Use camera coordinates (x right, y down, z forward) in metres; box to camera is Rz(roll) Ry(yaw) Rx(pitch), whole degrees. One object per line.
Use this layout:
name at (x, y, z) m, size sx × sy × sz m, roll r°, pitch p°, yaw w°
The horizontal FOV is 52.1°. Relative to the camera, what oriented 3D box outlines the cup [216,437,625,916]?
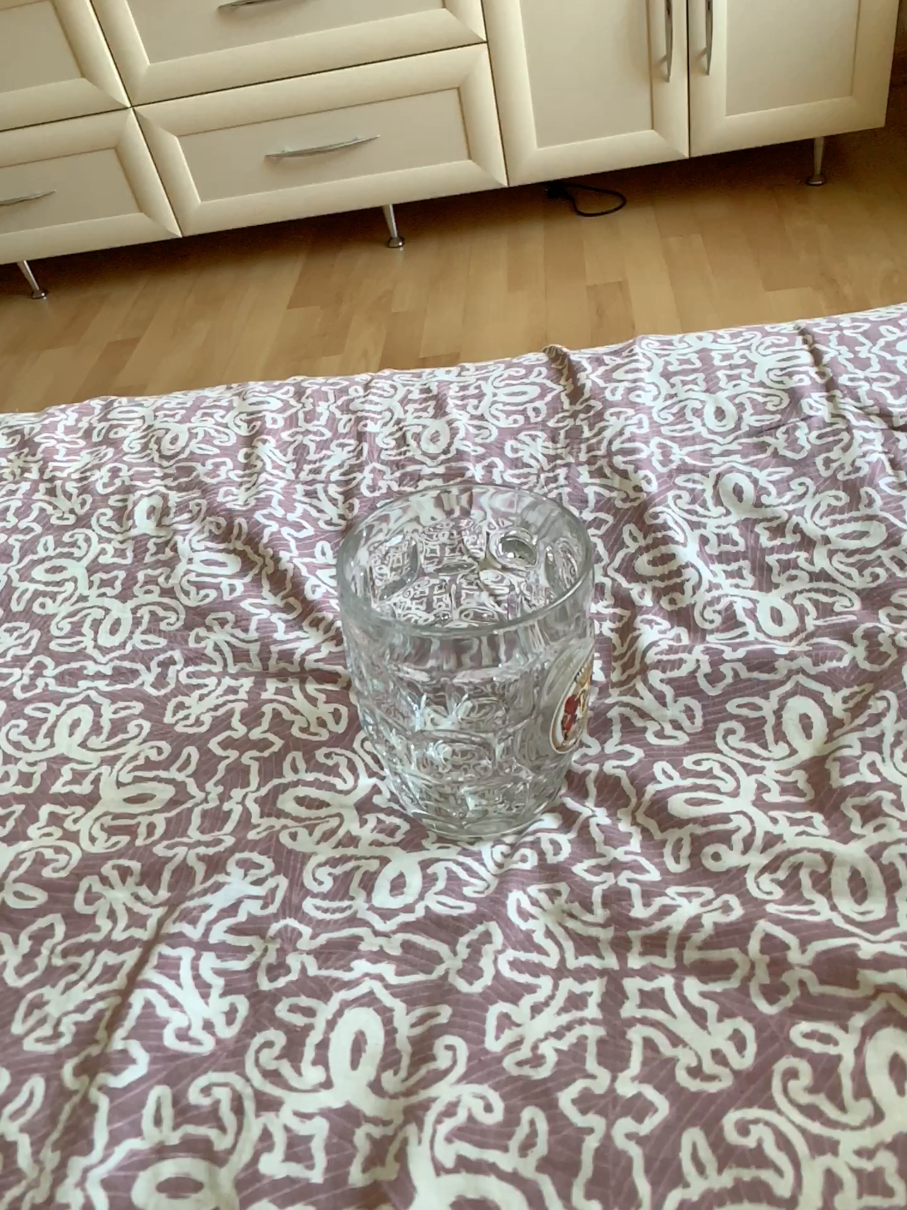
cup at (-0.001, 0.019, 0.329) m, size 0.093 × 0.099 × 0.118 m, roll 11°, pitch 42°, yaw 20°
